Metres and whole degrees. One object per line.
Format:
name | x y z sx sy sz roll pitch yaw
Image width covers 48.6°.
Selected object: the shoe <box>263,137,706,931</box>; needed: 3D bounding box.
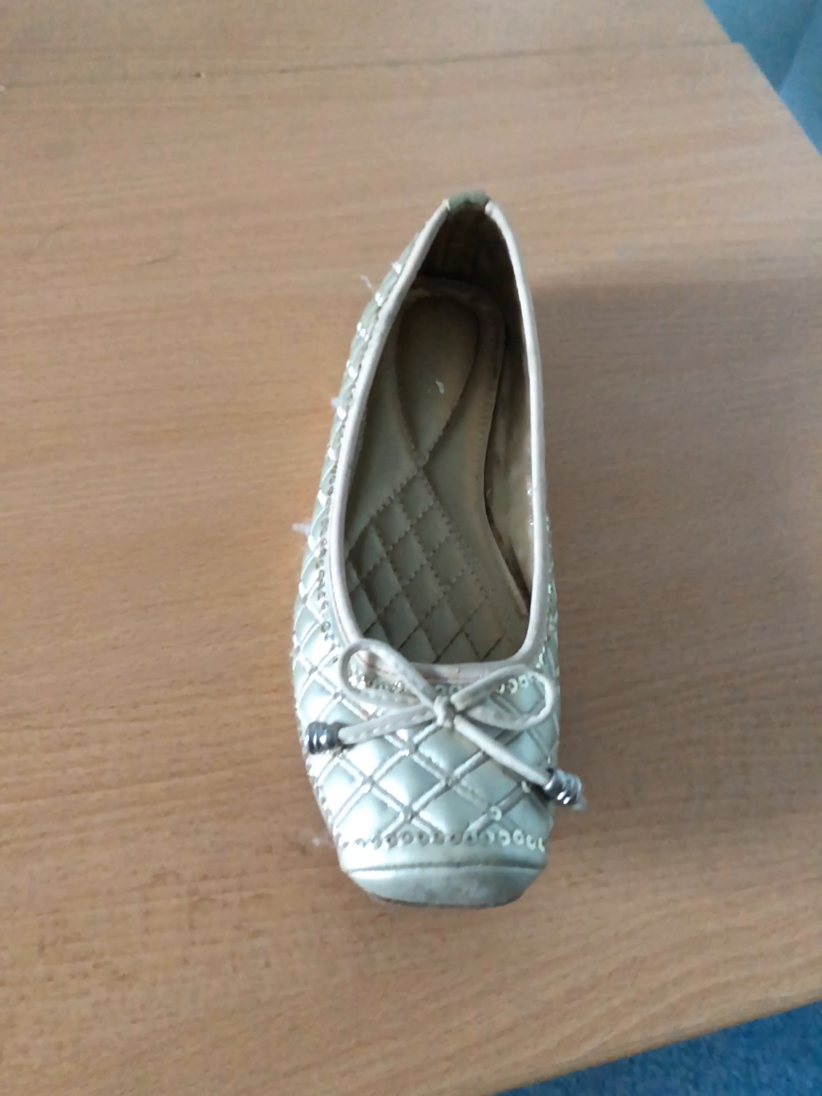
shoe | 0.013 -0.018 0.305 0.100 0.080 0.261 2 58 -4
